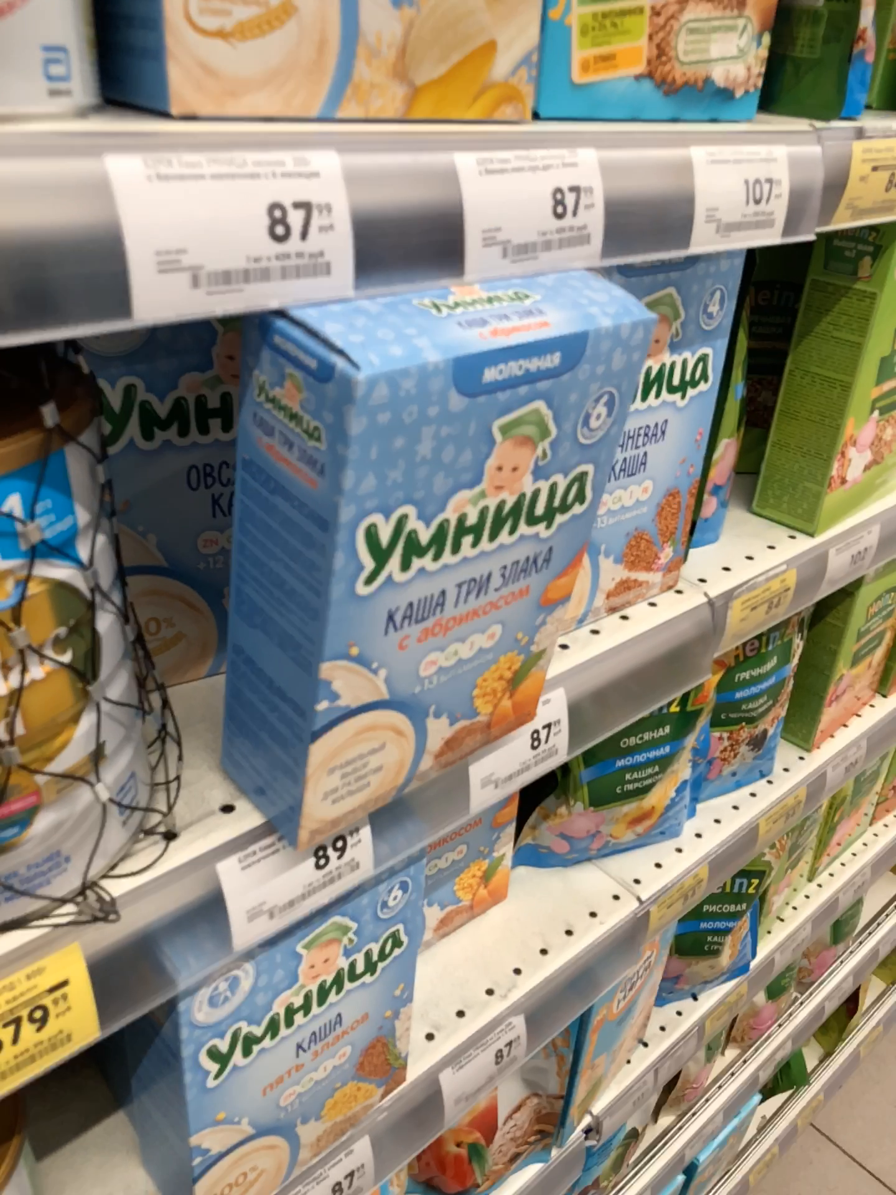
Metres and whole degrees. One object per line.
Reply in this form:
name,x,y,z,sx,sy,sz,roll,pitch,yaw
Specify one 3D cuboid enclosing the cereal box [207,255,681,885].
cereal box,-0.009,-0.011,0.372,0.140,0.209,0.060,-21,47,-39
